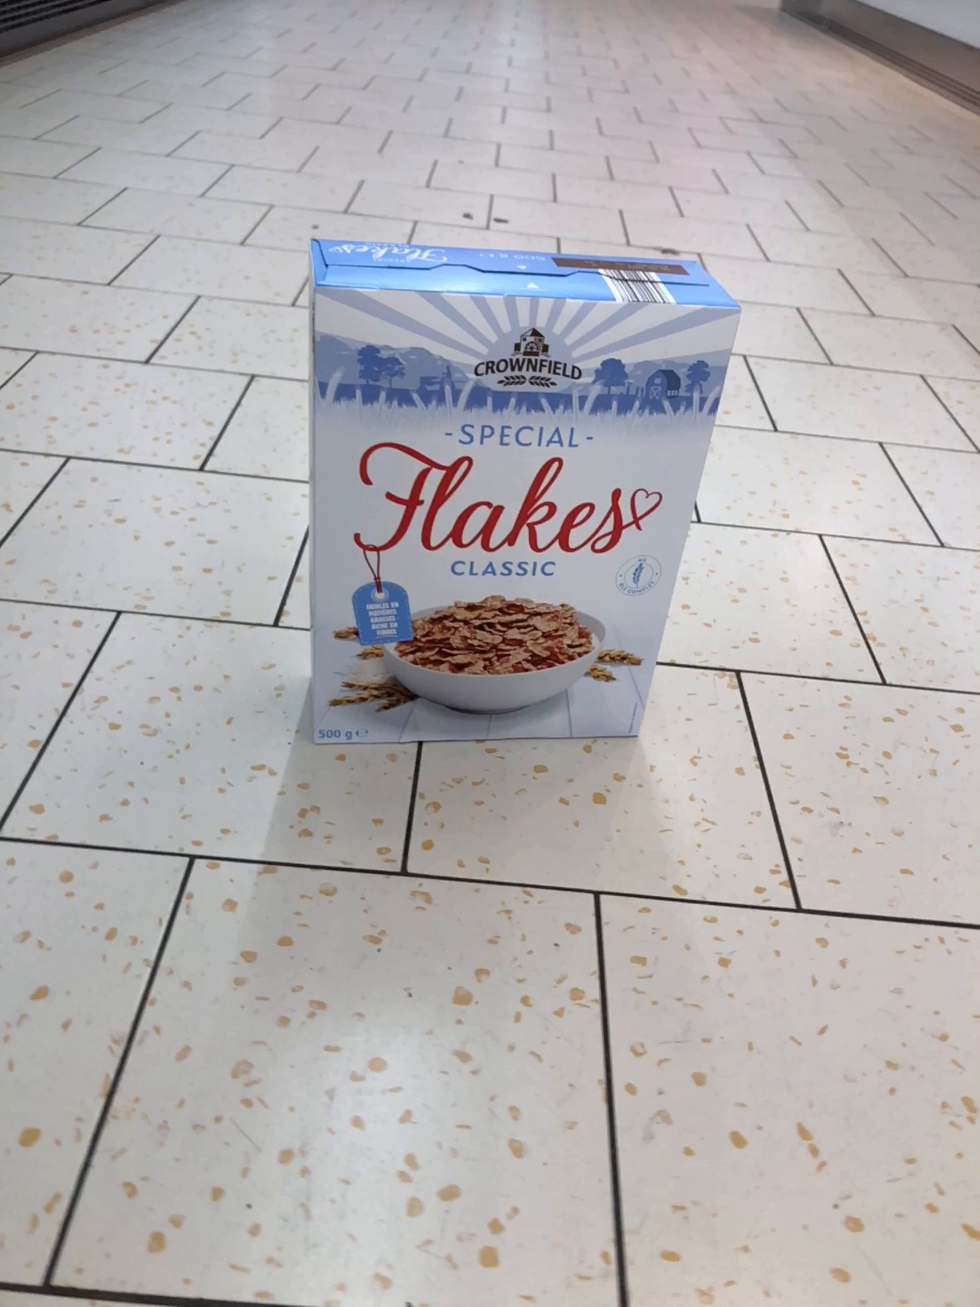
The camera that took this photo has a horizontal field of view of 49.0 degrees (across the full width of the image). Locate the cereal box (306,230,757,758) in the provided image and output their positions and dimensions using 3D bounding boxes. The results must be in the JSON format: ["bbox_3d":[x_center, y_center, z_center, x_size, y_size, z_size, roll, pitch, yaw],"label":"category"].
[{"bbox_3d":[0.004,-0.070,0.575,0.200,0.268,0.070,1,35,-9],"label":"cereal box"}]
